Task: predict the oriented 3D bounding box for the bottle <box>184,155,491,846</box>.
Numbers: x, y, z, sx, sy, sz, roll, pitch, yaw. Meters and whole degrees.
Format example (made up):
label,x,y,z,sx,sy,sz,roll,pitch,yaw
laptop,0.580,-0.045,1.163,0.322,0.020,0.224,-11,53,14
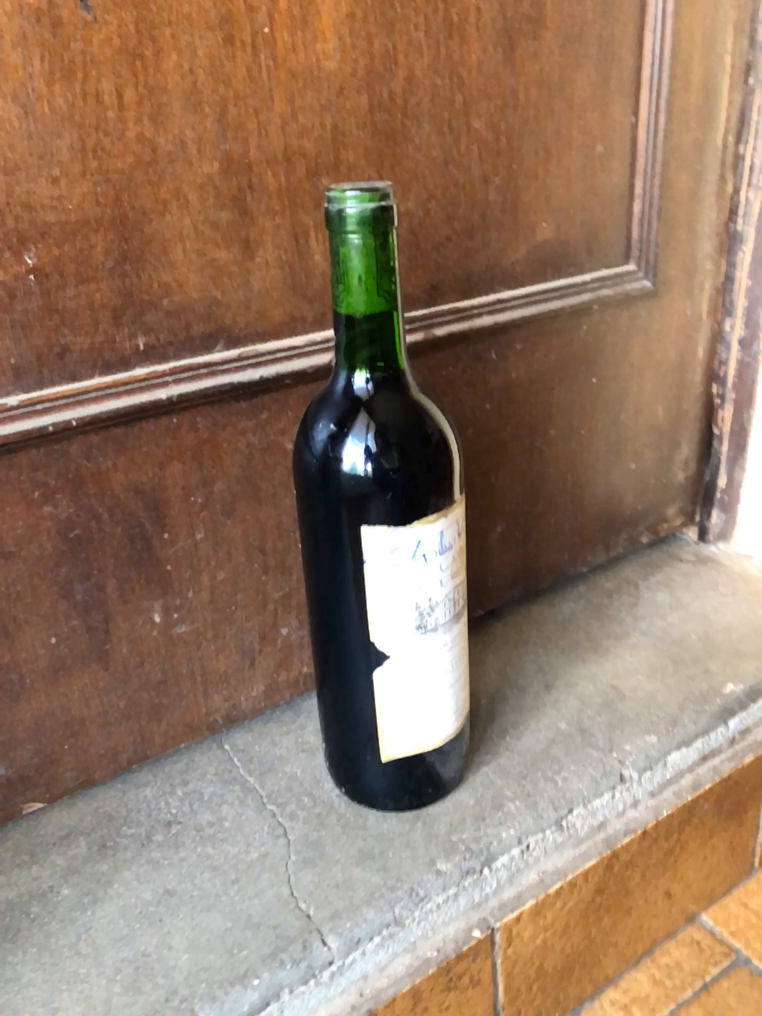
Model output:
label,x,y,z,sx,sy,sz,roll,pitch,yaw
bottle,-0.006,0.002,0.365,0.080,0.278,0.081,-3,25,1
